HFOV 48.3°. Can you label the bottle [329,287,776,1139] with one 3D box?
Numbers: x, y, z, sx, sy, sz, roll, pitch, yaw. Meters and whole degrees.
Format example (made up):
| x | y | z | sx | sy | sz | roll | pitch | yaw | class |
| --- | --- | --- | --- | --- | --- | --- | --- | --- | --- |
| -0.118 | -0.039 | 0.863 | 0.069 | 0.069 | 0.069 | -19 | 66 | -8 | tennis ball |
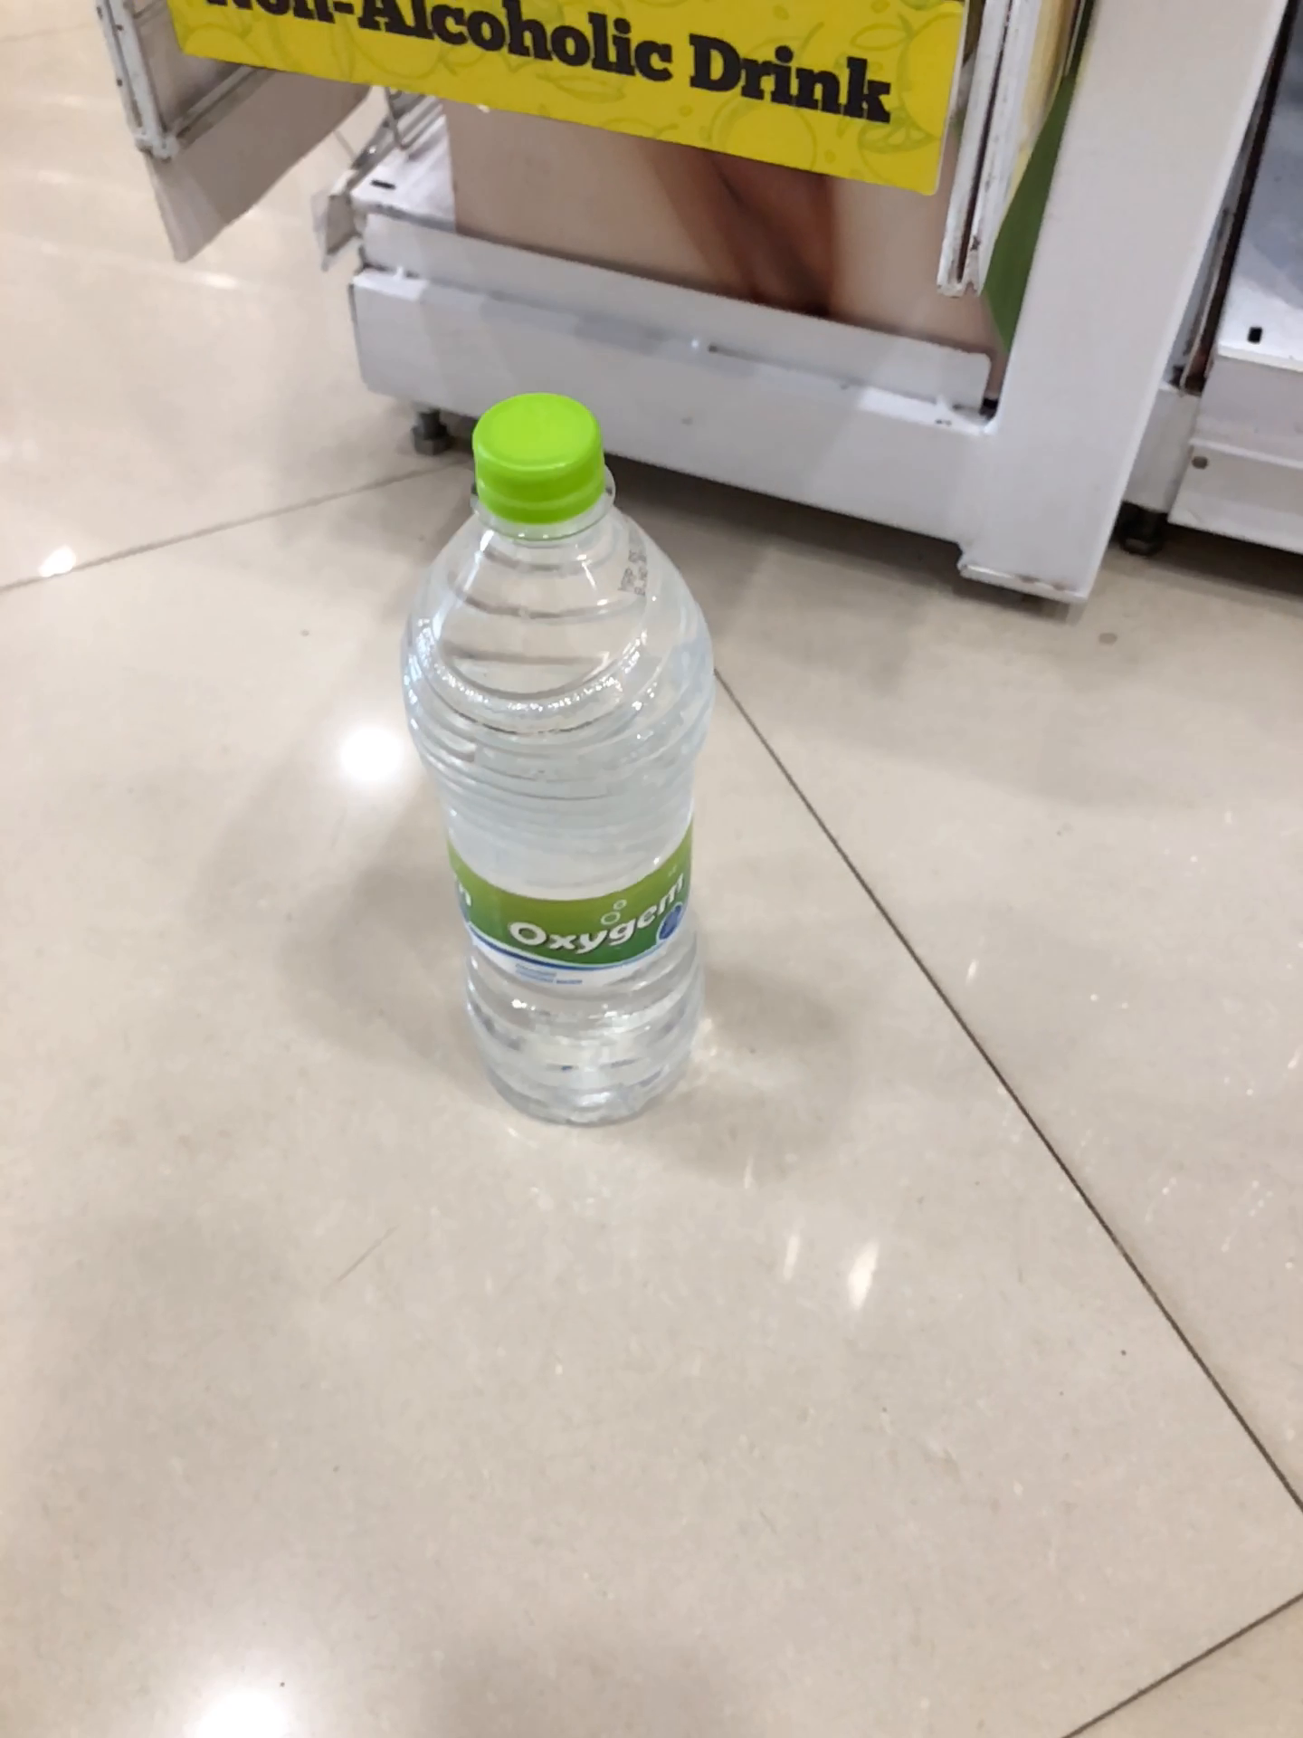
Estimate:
| x | y | z | sx | sy | sz | roll | pitch | yaw | class |
| --- | --- | --- | --- | --- | --- | --- | --- | --- | --- |
| -0.025 | -0.024 | 0.419 | 0.090 | 0.258 | 0.080 | -5 | 52 | -4 | bottle |
